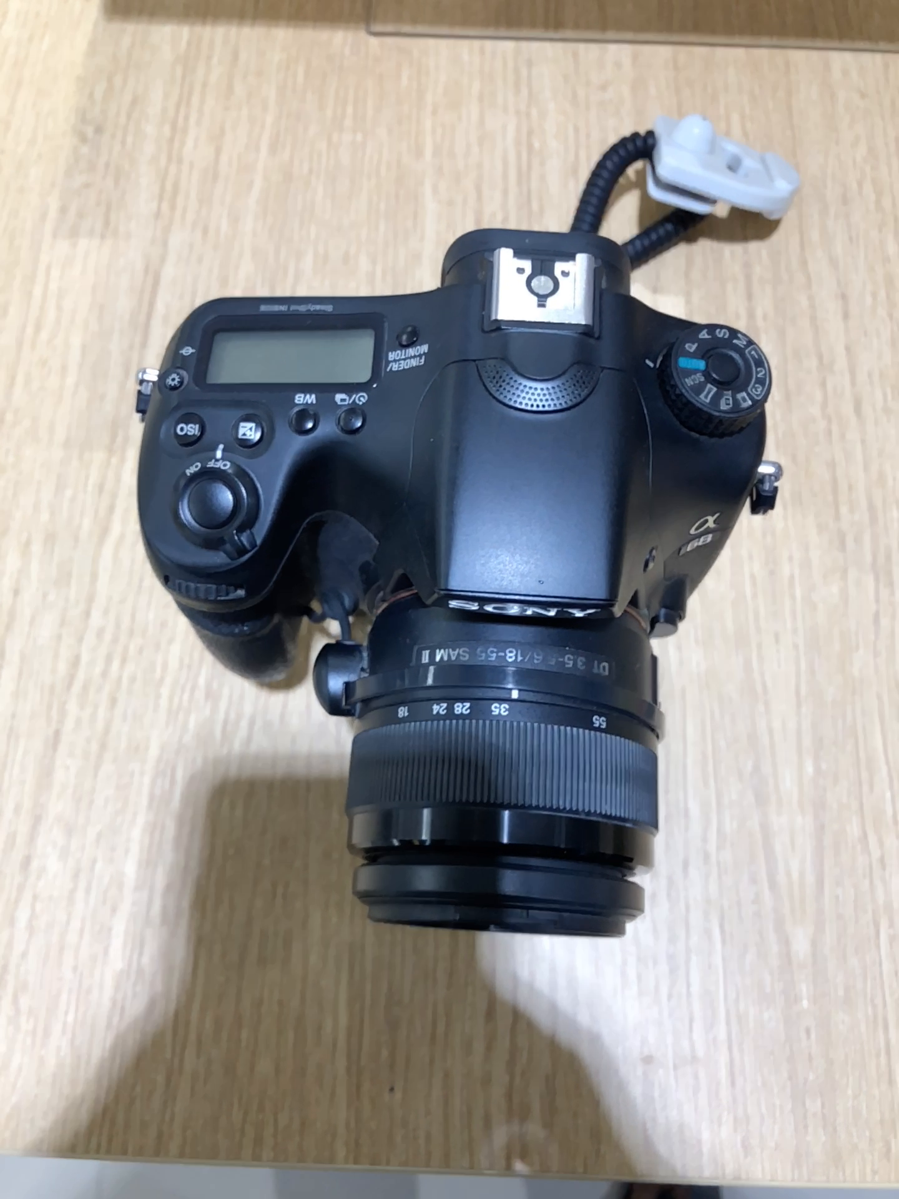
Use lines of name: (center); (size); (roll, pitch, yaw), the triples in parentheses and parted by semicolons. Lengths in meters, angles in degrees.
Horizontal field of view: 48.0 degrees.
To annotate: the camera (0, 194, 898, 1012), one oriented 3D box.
camera: (0.002, 0.004, 0.195); (0.140, 0.080, 0.130); (2, 70, 1)
